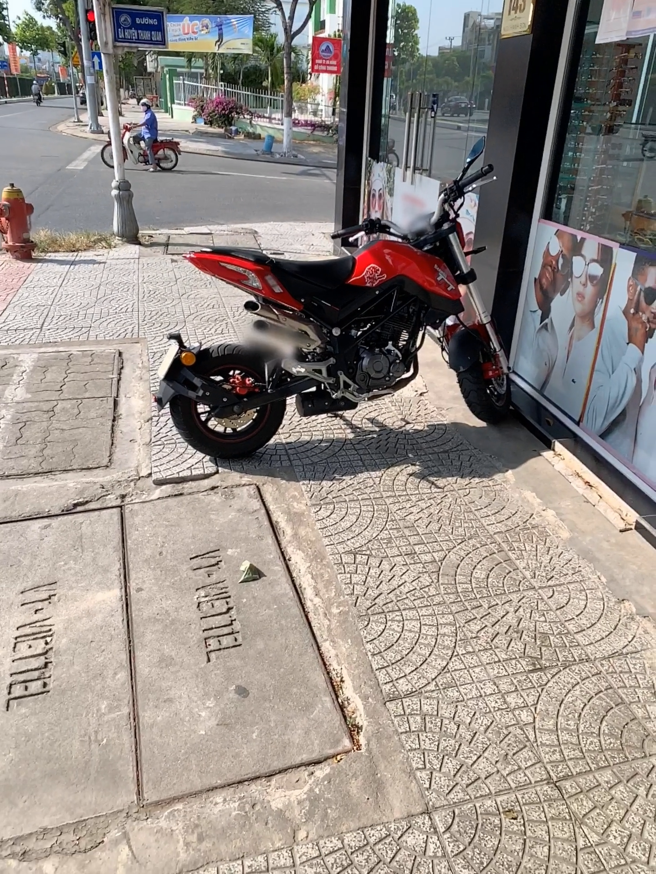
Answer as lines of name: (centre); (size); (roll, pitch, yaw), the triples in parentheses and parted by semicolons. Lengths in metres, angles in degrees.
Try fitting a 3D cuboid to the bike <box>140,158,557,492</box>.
bike: (0.154, -0.733, 3.447); (2.123, 1.216, 0.835); (-14, 30, -31)
